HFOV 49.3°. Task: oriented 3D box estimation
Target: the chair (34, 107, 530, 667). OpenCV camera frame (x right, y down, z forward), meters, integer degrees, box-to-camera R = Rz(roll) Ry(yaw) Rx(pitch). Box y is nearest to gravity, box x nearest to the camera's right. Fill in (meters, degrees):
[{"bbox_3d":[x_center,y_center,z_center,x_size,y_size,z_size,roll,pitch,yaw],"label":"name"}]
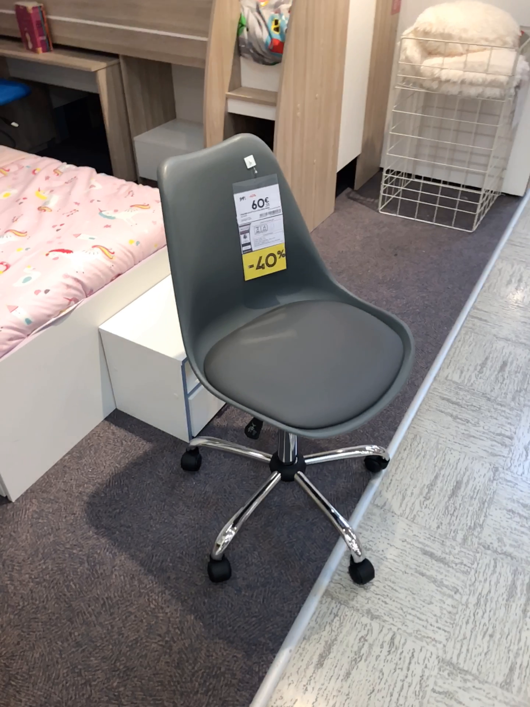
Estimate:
[{"bbox_3d":[0.043,0.036,1.249,0.631,0.835,0.603,30,48,32],"label":"chair"}]
